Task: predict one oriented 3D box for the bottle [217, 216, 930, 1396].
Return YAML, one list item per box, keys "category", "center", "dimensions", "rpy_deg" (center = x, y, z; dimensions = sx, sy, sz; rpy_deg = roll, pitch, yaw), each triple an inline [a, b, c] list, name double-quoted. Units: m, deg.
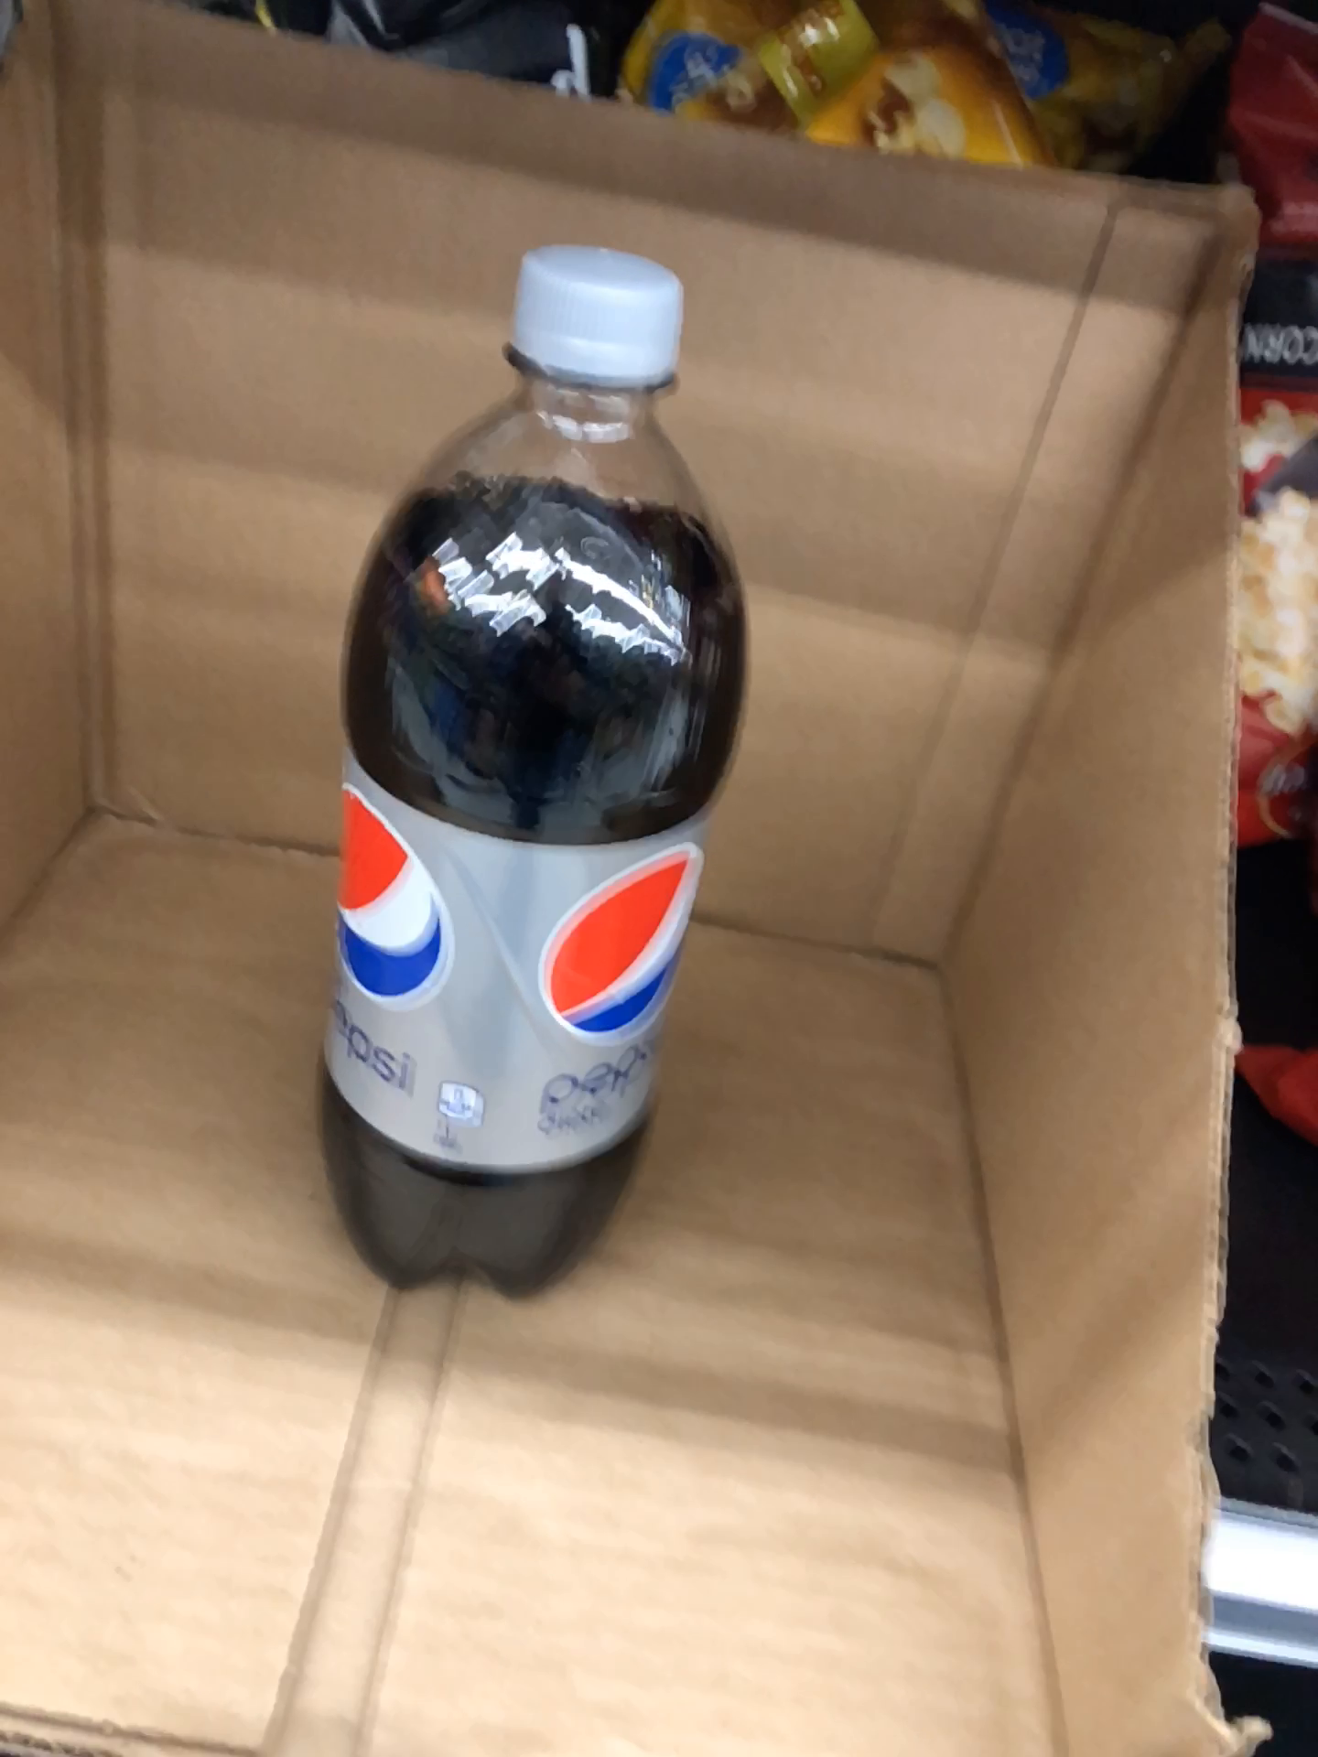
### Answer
- category: "bottle"
  center: [-0.032, -0.008, 0.309]
  dimensions: [0.090, 0.228, 0.080]
  rpy_deg: [-16, 44, -32]
